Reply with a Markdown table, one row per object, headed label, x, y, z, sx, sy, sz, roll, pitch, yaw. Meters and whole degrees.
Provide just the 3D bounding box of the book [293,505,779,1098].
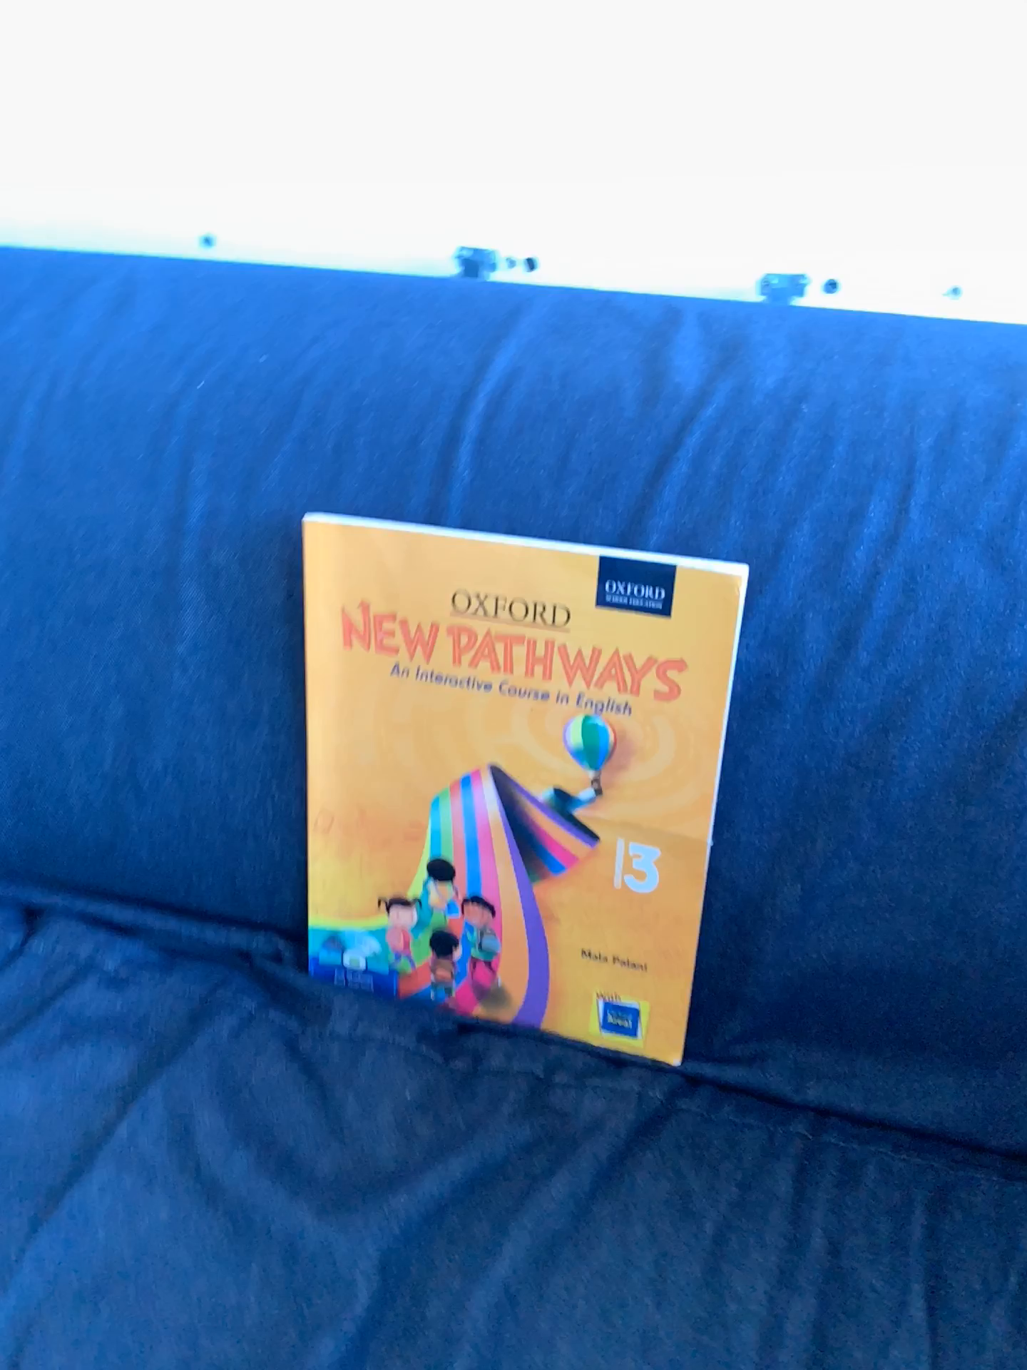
| label | x | y | z | sx | sy | sz | roll | pitch | yaw |
| --- | --- | --- | --- | --- | --- | --- | --- | --- | --- |
| book | -0.002 | 0.064 | 0.547 | 0.230 | 0.283 | 0.030 | 9 | 21 | 13 |
